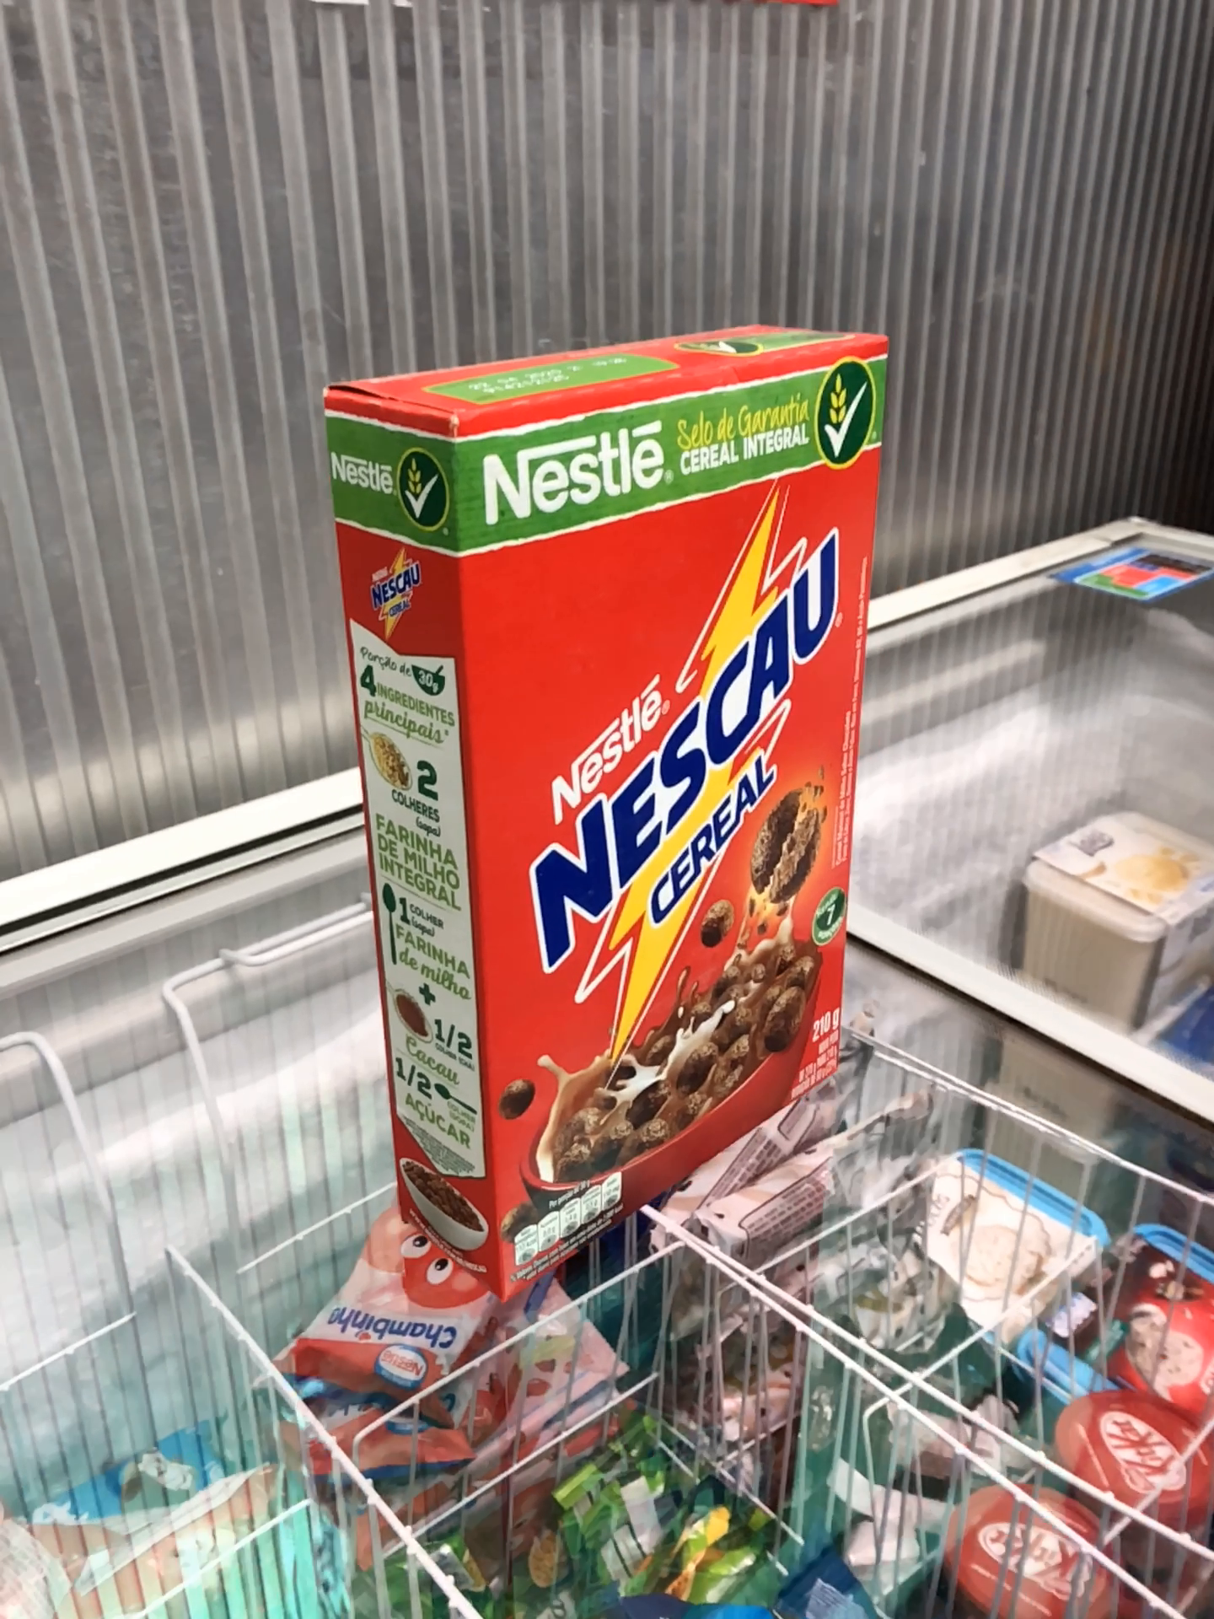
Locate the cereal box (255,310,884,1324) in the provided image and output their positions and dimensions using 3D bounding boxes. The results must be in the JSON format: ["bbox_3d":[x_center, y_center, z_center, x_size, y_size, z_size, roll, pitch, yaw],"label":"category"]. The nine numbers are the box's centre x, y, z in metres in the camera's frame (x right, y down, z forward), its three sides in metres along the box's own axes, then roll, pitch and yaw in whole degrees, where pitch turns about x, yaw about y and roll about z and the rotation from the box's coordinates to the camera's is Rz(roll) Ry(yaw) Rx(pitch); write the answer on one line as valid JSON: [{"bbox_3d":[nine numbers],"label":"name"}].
[{"bbox_3d":[0.000,-0.002,0.400,0.171,0.258,0.050,-23,34,-38],"label":"cereal box"}]
